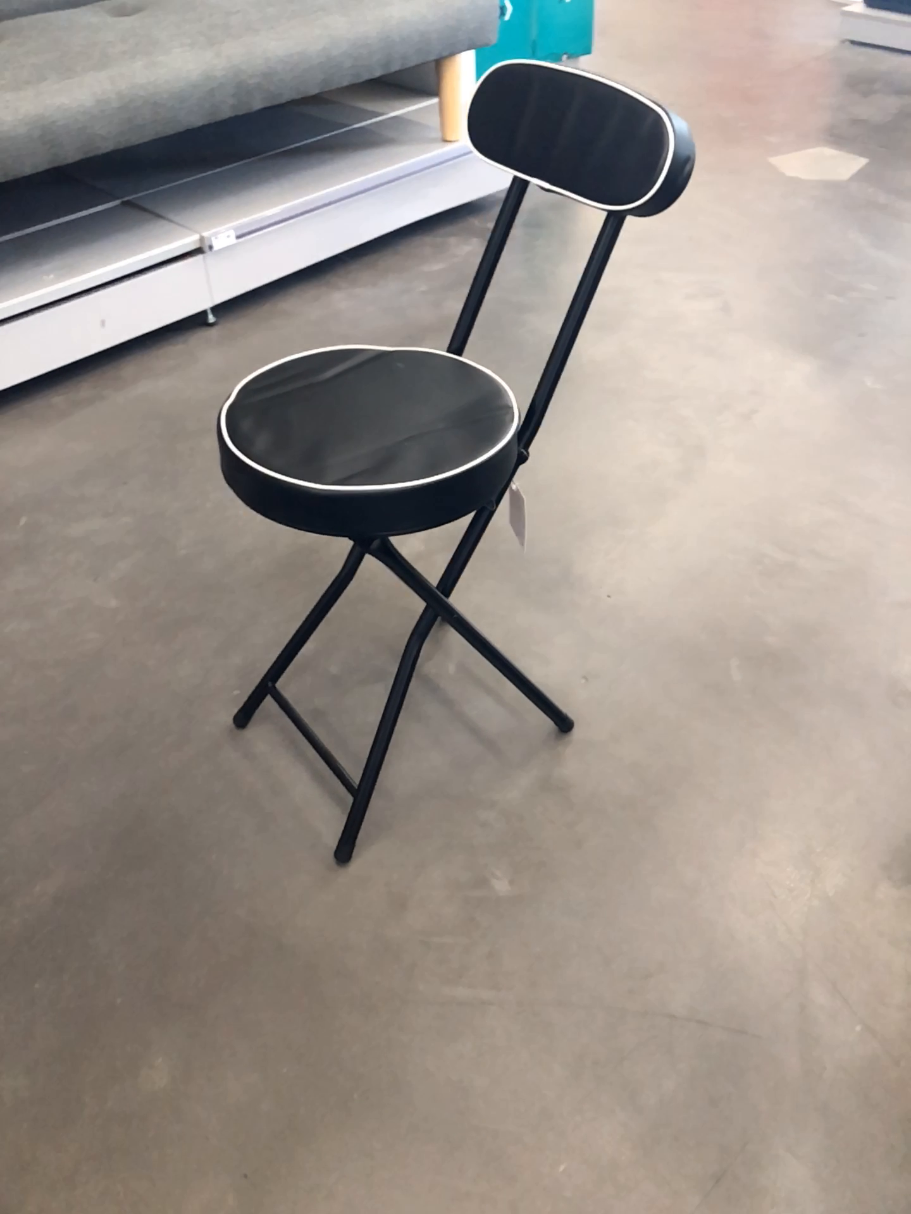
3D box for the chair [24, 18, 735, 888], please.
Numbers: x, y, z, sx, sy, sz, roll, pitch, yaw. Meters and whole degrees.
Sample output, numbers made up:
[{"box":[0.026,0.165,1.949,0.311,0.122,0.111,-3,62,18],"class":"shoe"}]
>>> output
[{"box":[-0.050,-0.156,1.106,0.512,0.755,0.341,-26,46,-25],"class":"chair"}]
